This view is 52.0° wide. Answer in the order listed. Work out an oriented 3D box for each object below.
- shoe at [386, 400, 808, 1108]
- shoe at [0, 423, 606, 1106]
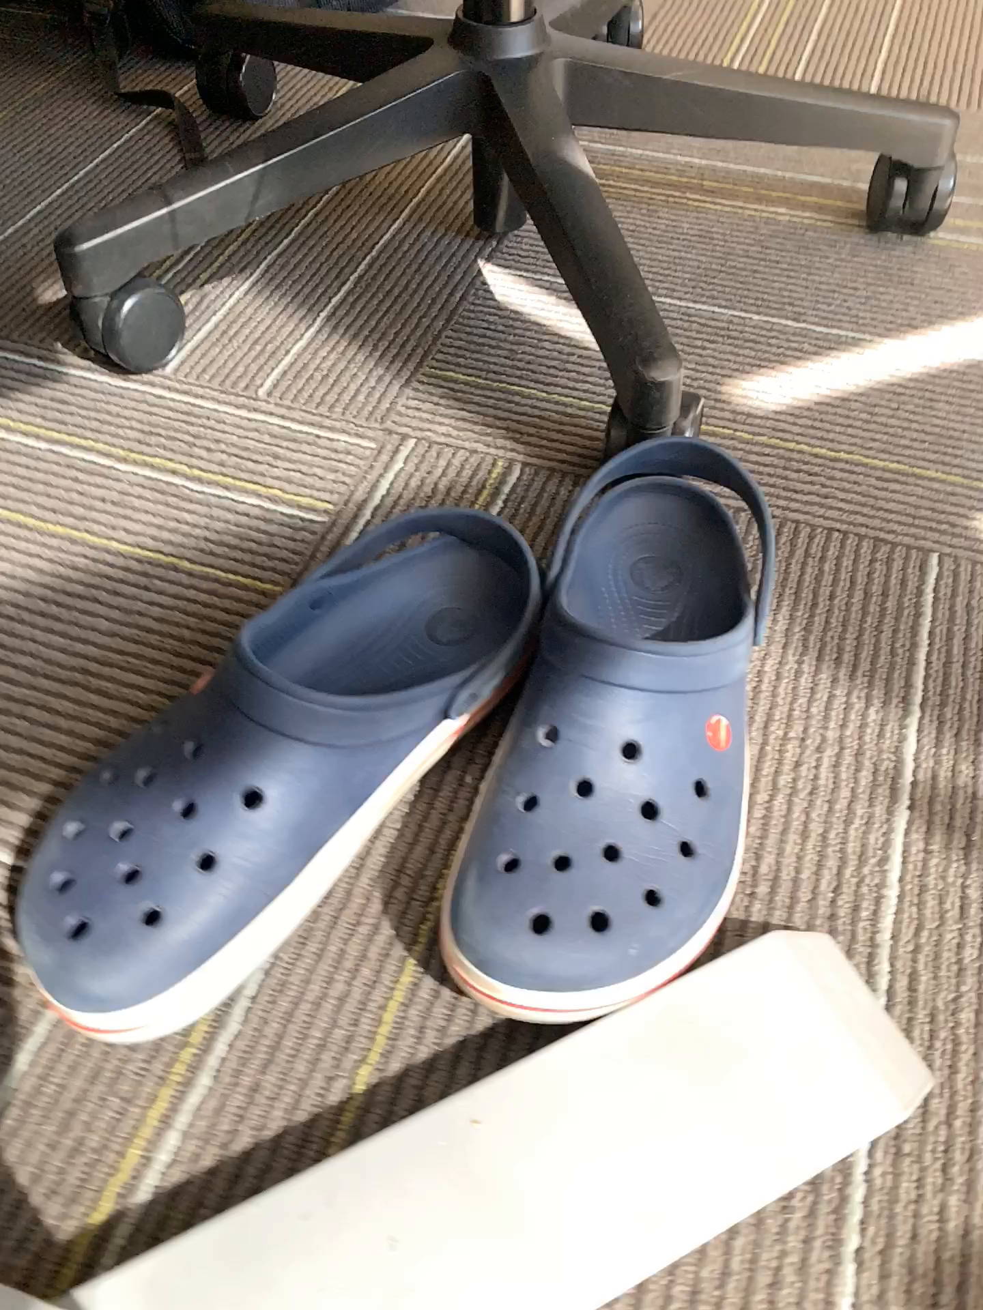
[{"bbox_3d":[0.067,0.021,0.489,0.130,0.080,0.331,11,54,9],"label":"shoe"},{"bbox_3d":[-0.095,0.029,0.482,0.130,0.080,0.320,33,60,23],"label":"shoe"}]
